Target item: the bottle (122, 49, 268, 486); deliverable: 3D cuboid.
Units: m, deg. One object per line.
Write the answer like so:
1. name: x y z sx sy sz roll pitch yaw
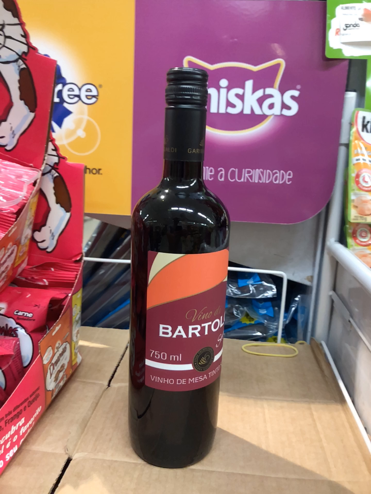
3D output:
1. bottle: 0.001 0.021 0.316 0.080 0.299 0.060 -6 16 -31
